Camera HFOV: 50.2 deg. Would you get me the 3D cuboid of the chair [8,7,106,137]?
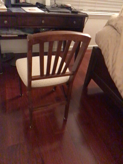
[{"bbox_3d":[-0.142,-0.126,1.241,0.531,0.893,0.724,-8,38,-20],"label":"chair"}]
